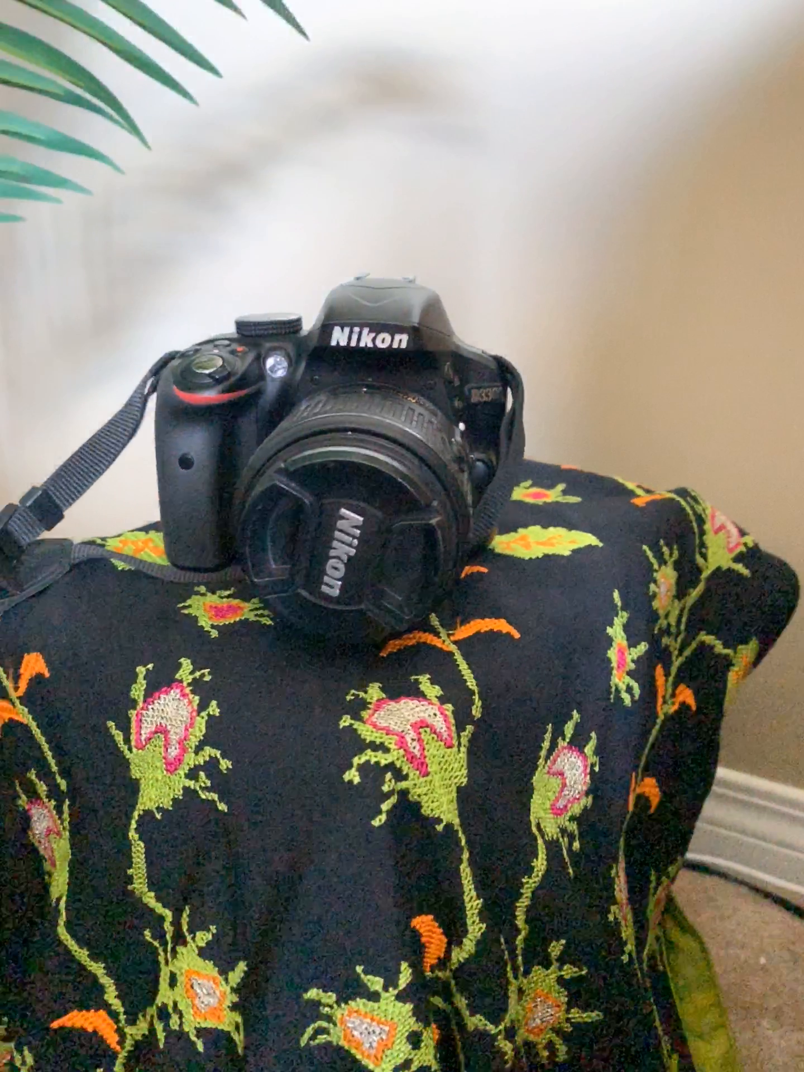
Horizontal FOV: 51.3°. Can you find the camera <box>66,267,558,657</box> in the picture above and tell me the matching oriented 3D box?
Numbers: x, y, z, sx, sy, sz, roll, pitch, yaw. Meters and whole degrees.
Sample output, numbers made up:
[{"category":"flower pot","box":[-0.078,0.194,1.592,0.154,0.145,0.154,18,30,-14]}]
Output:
[{"category":"camera","box":[-0.022,-0.030,0.262,0.120,0.099,0.091,1,19,1]}]
